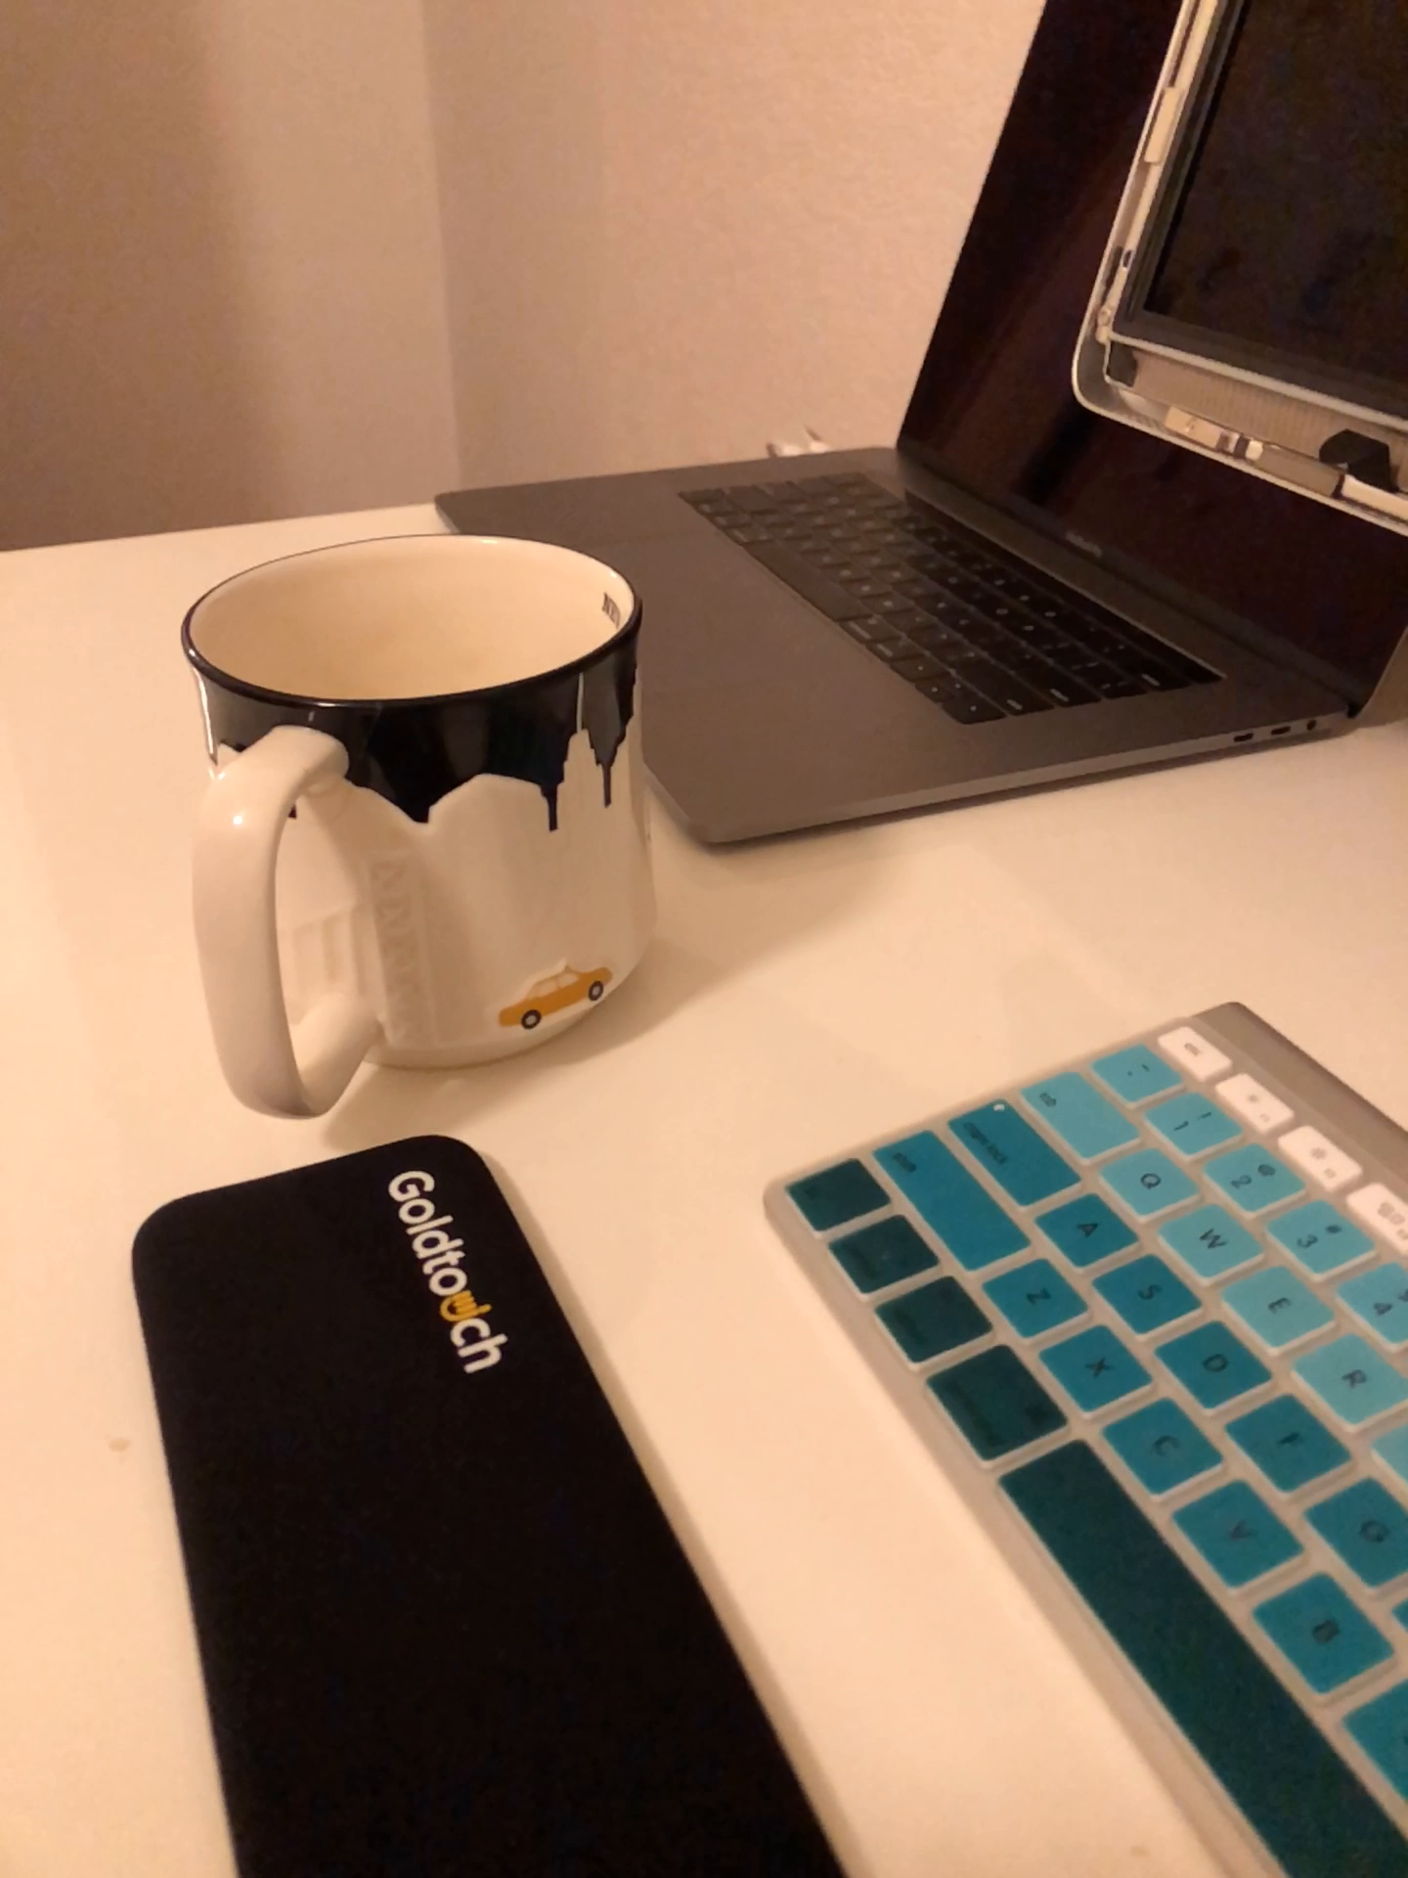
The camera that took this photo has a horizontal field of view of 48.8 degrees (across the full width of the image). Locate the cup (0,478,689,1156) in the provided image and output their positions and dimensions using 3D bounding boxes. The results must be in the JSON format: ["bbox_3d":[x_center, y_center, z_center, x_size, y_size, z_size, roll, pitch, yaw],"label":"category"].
[{"bbox_3d":[-0.068,-0.038,0.360,0.110,0.089,0.151,4,33,6],"label":"cup"}]
